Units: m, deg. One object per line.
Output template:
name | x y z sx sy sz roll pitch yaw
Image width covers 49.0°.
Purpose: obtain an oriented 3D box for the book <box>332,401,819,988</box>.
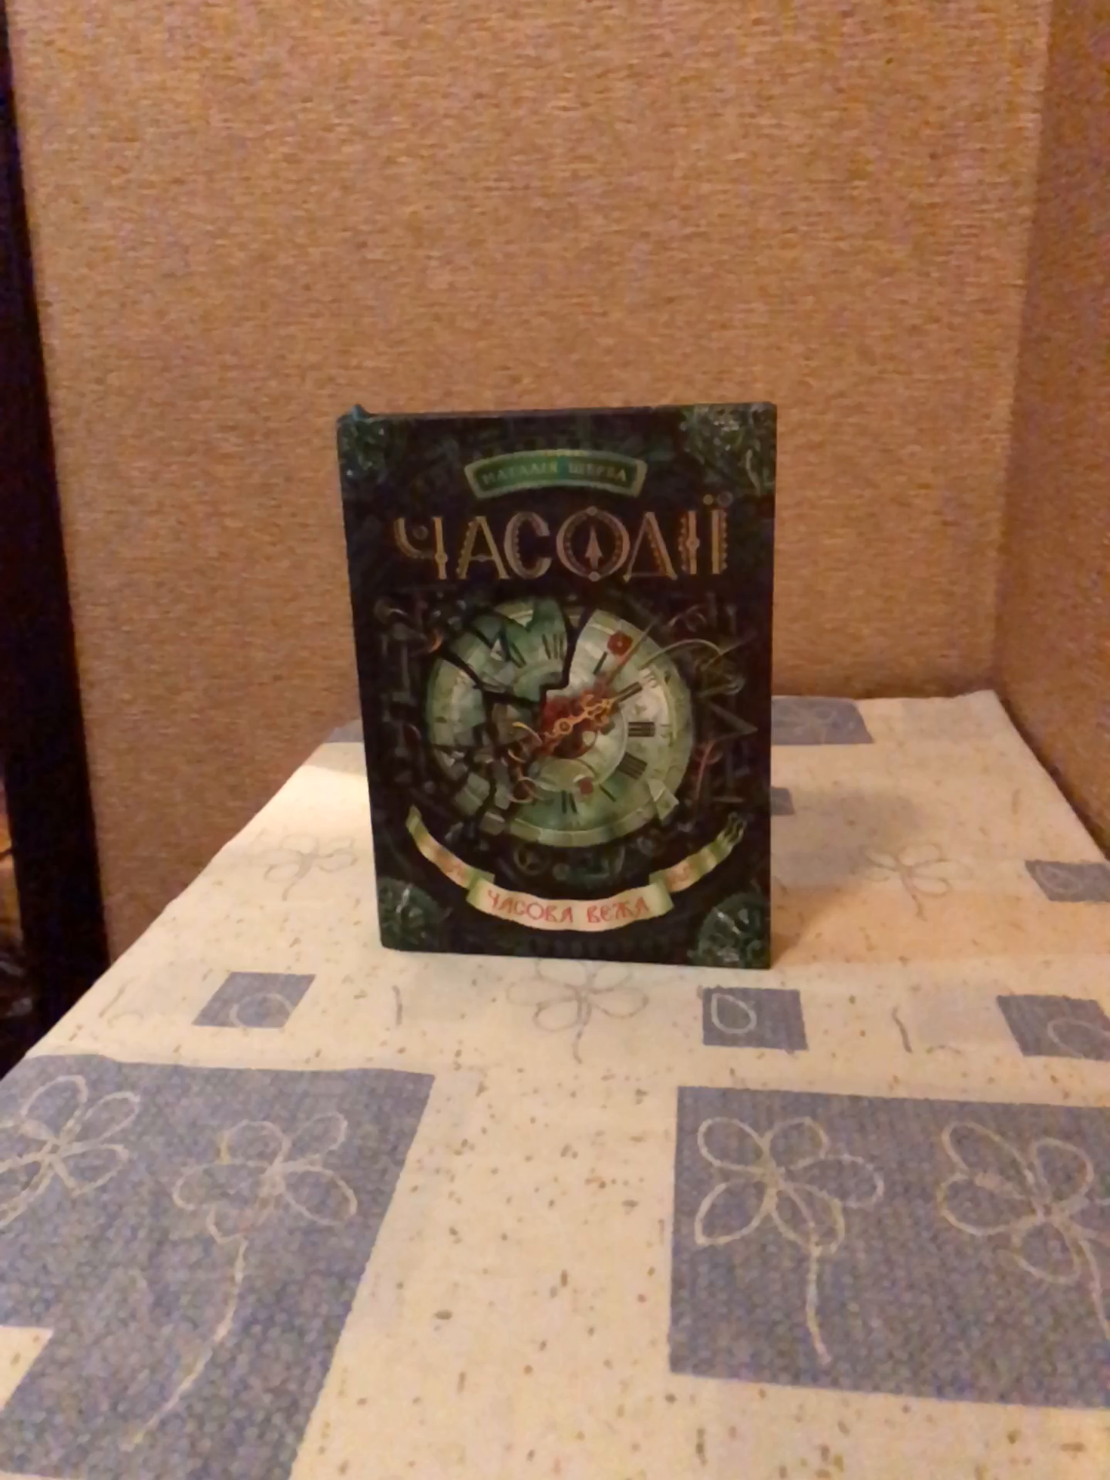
book | 0.008 -0.019 0.474 0.173 0.216 0.040 3 16 10
